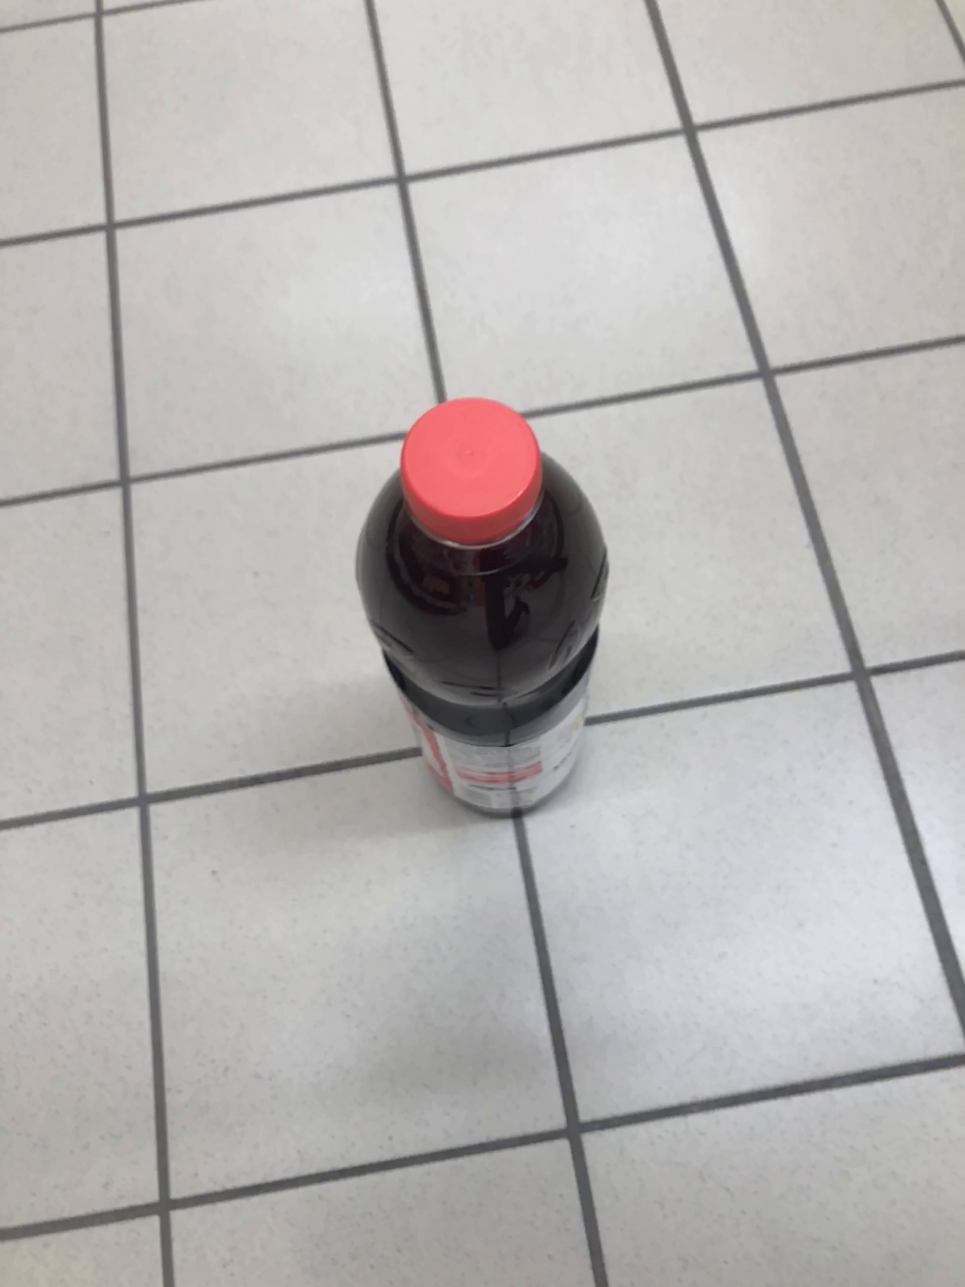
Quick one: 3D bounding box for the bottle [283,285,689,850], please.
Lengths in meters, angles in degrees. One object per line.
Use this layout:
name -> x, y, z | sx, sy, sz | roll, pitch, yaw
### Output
bottle -> 0.005, 0.001, 0.423 | 0.090, 0.289, 0.090 | -1, 69, 3
